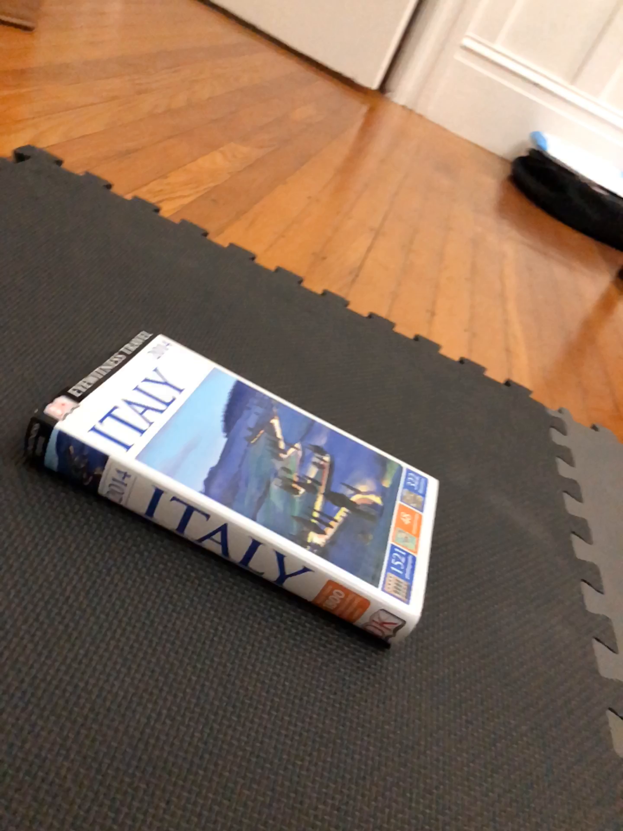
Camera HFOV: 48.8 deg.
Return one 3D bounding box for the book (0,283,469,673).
[{"bbox_3d":[-0.029,0.022,0.406,0.250,0.040,0.161,27,32,-2],"label":"book"}]
